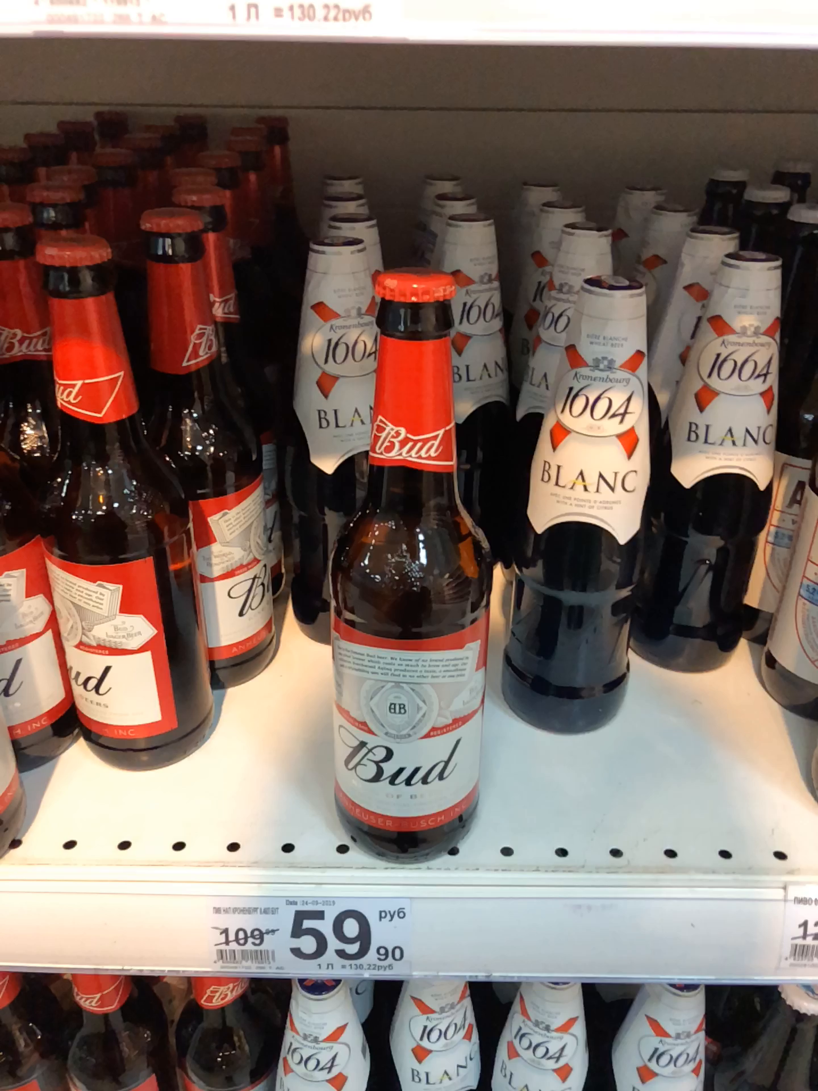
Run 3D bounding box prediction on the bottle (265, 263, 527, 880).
[{"bbox_3d":[-0.002,0.020,0.372,0.080,0.248,0.070,5,30,7],"label":"bottle"}]
